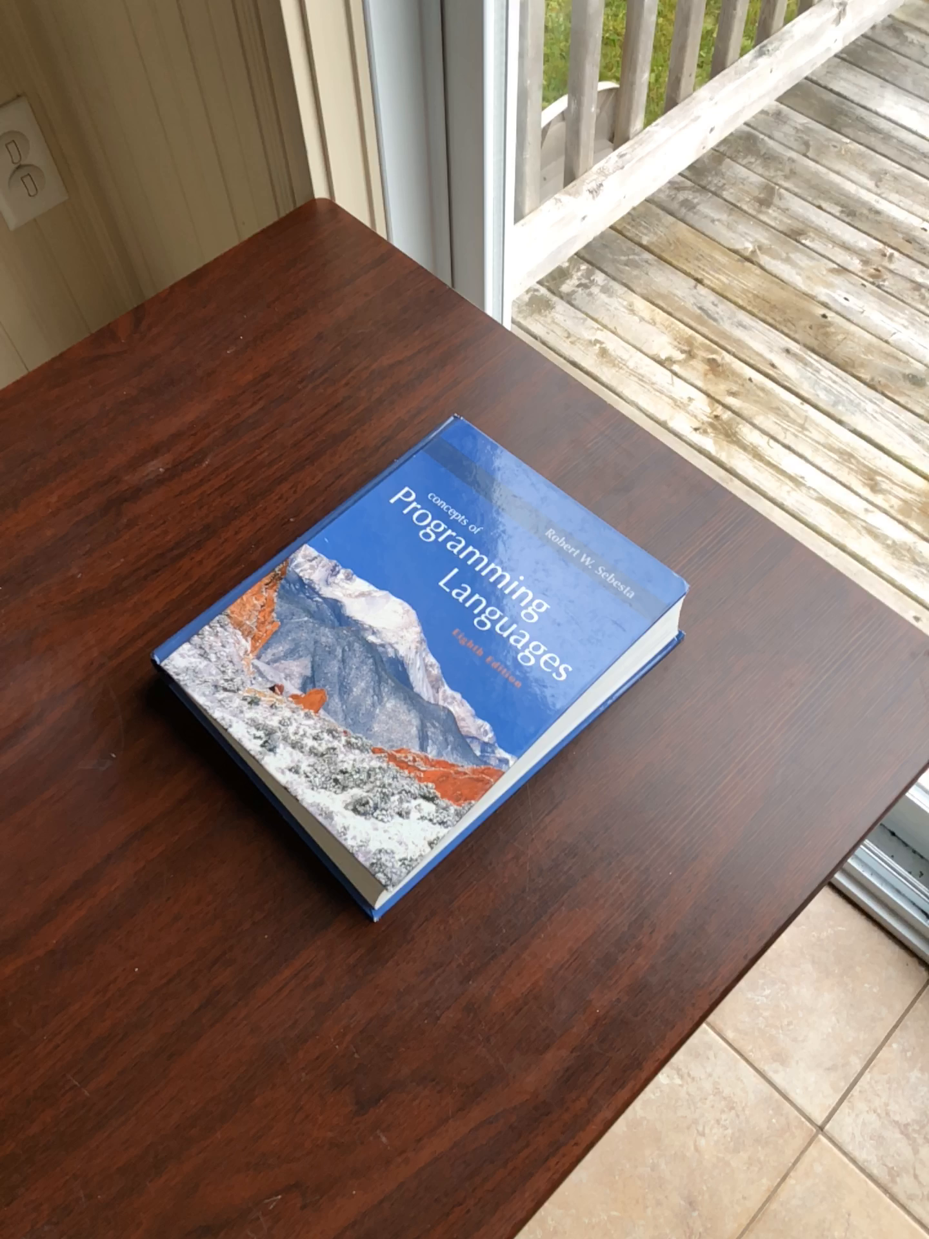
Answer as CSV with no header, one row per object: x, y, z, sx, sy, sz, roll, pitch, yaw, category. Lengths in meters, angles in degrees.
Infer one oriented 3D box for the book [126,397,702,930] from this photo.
-0.025,0.010,0.562,0.236,0.048,0.195,-40,67,-19,book
